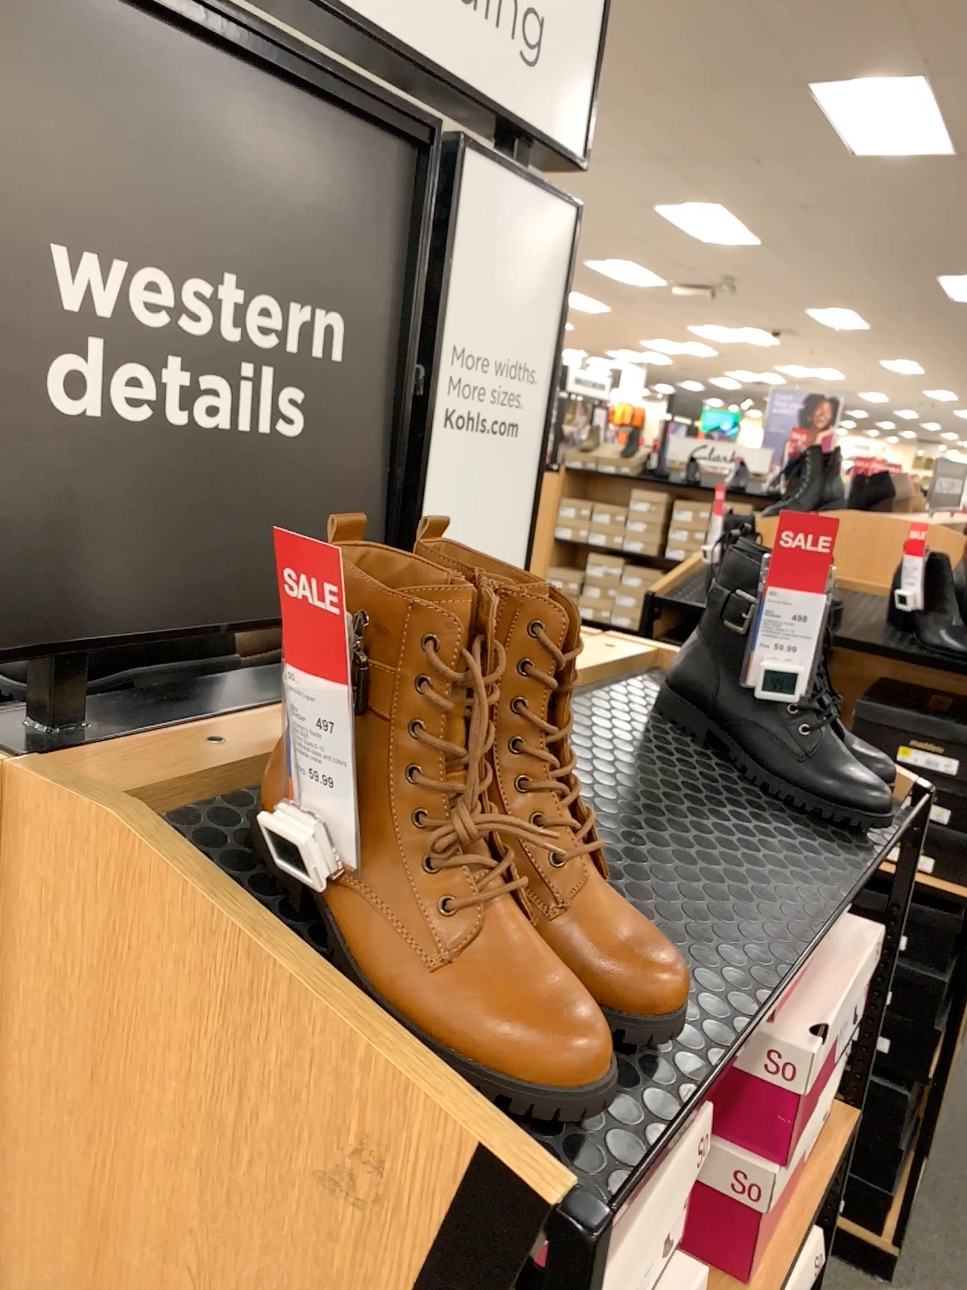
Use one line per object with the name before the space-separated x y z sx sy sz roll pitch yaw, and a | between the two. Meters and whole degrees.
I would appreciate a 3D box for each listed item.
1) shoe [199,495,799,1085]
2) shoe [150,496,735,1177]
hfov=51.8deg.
shoe | -0.004 0.054 0.551 0.286 0.229 0.110 14 13 27
shoe | -0.042 0.063 0.492 0.276 0.229 0.090 18 15 39
